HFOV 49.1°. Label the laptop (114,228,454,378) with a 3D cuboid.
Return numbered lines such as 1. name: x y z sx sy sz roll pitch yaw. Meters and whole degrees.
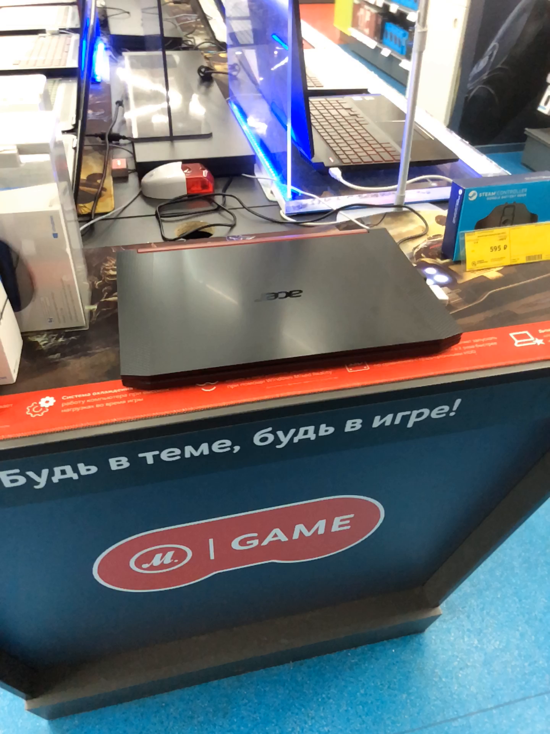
1. laptop: -0.006 -0.090 0.701 0.350 0.005 0.244 -7 40 -11
